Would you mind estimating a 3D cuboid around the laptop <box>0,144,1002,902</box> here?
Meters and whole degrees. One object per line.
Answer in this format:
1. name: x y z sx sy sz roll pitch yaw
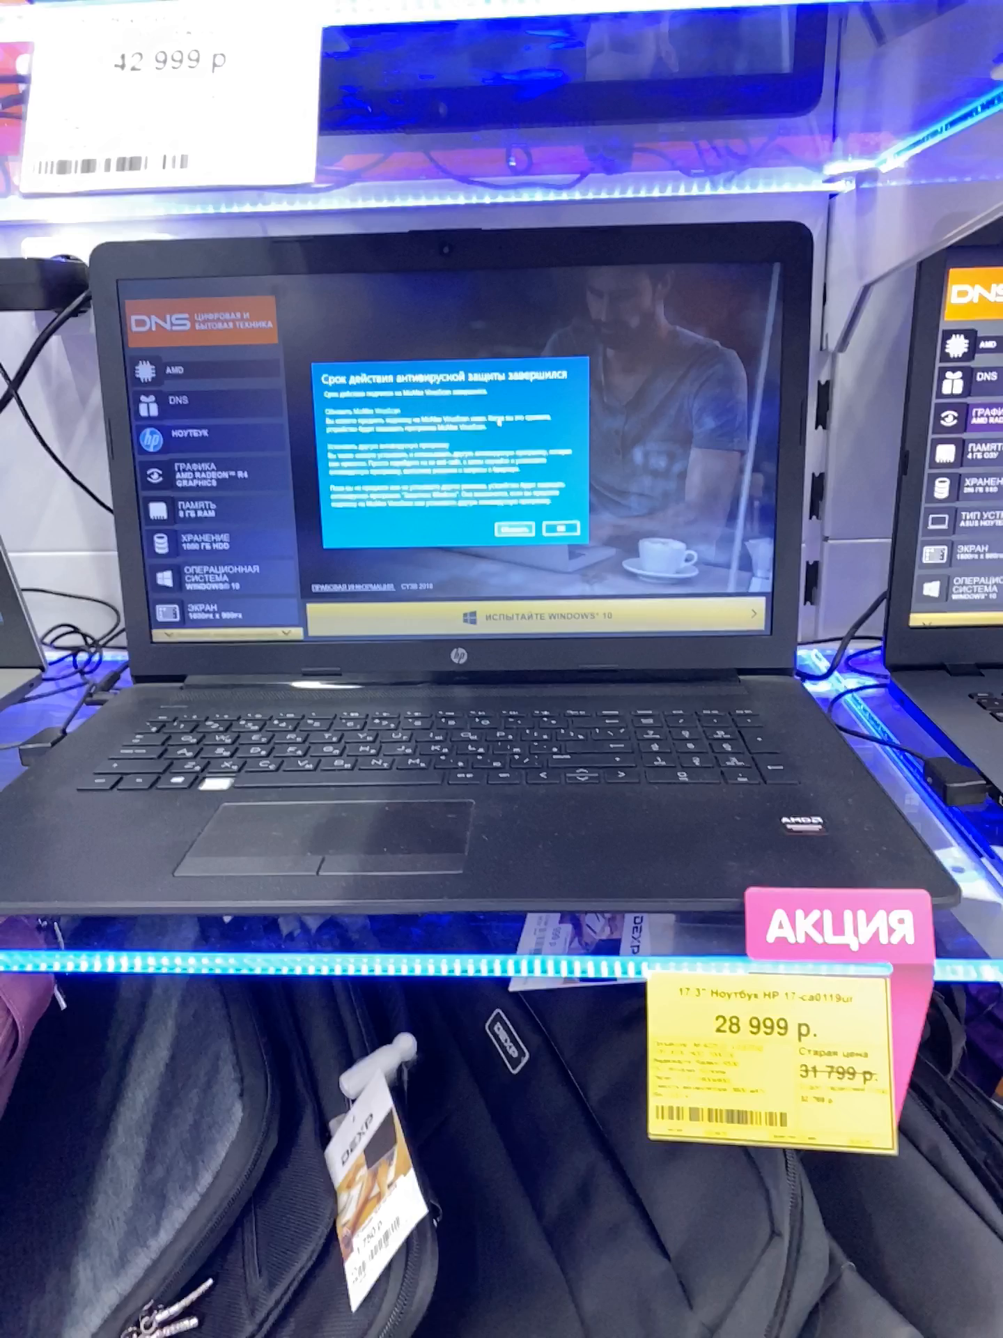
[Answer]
1. laptop: -0.039 -0.081 0.500 0.419 0.260 0.295 -1 17 1
